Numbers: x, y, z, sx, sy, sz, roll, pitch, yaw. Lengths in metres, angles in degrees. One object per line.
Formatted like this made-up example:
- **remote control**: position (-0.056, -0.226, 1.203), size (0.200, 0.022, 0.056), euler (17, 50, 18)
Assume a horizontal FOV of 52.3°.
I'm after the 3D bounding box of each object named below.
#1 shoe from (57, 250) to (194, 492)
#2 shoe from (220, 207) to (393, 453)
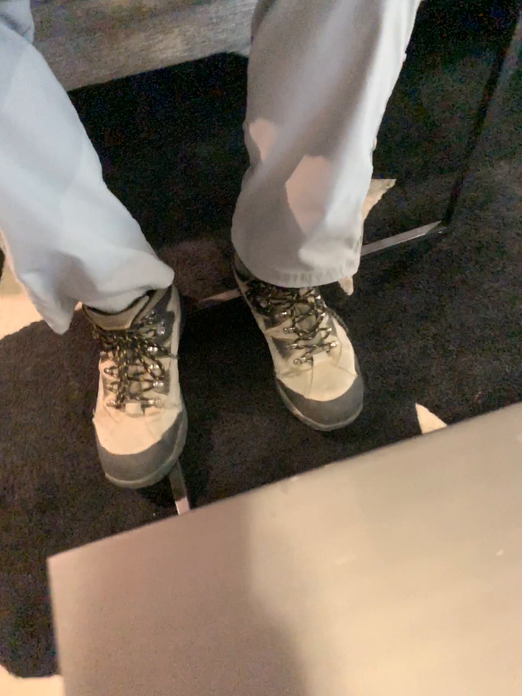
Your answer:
- **shoe**: position (-0.159, 0.028, 0.668), size (0.123, 0.090, 0.285), euler (-3, 68, 4)
- **shoe**: position (0.051, -0.032, 0.709), size (0.121, 0.080, 0.304), euler (-18, 64, -4)
